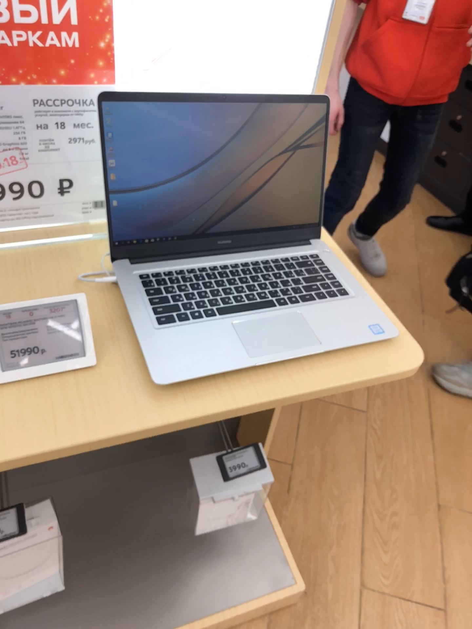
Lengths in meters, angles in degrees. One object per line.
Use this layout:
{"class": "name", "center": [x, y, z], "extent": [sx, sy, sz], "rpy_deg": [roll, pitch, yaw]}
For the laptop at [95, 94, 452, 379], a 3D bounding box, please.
{"class": "laptop", "center": [0.021, -0.127, 0.695], "extent": [0.341, 0.204, 0.307], "rpy_deg": [-9, 45, -23]}
